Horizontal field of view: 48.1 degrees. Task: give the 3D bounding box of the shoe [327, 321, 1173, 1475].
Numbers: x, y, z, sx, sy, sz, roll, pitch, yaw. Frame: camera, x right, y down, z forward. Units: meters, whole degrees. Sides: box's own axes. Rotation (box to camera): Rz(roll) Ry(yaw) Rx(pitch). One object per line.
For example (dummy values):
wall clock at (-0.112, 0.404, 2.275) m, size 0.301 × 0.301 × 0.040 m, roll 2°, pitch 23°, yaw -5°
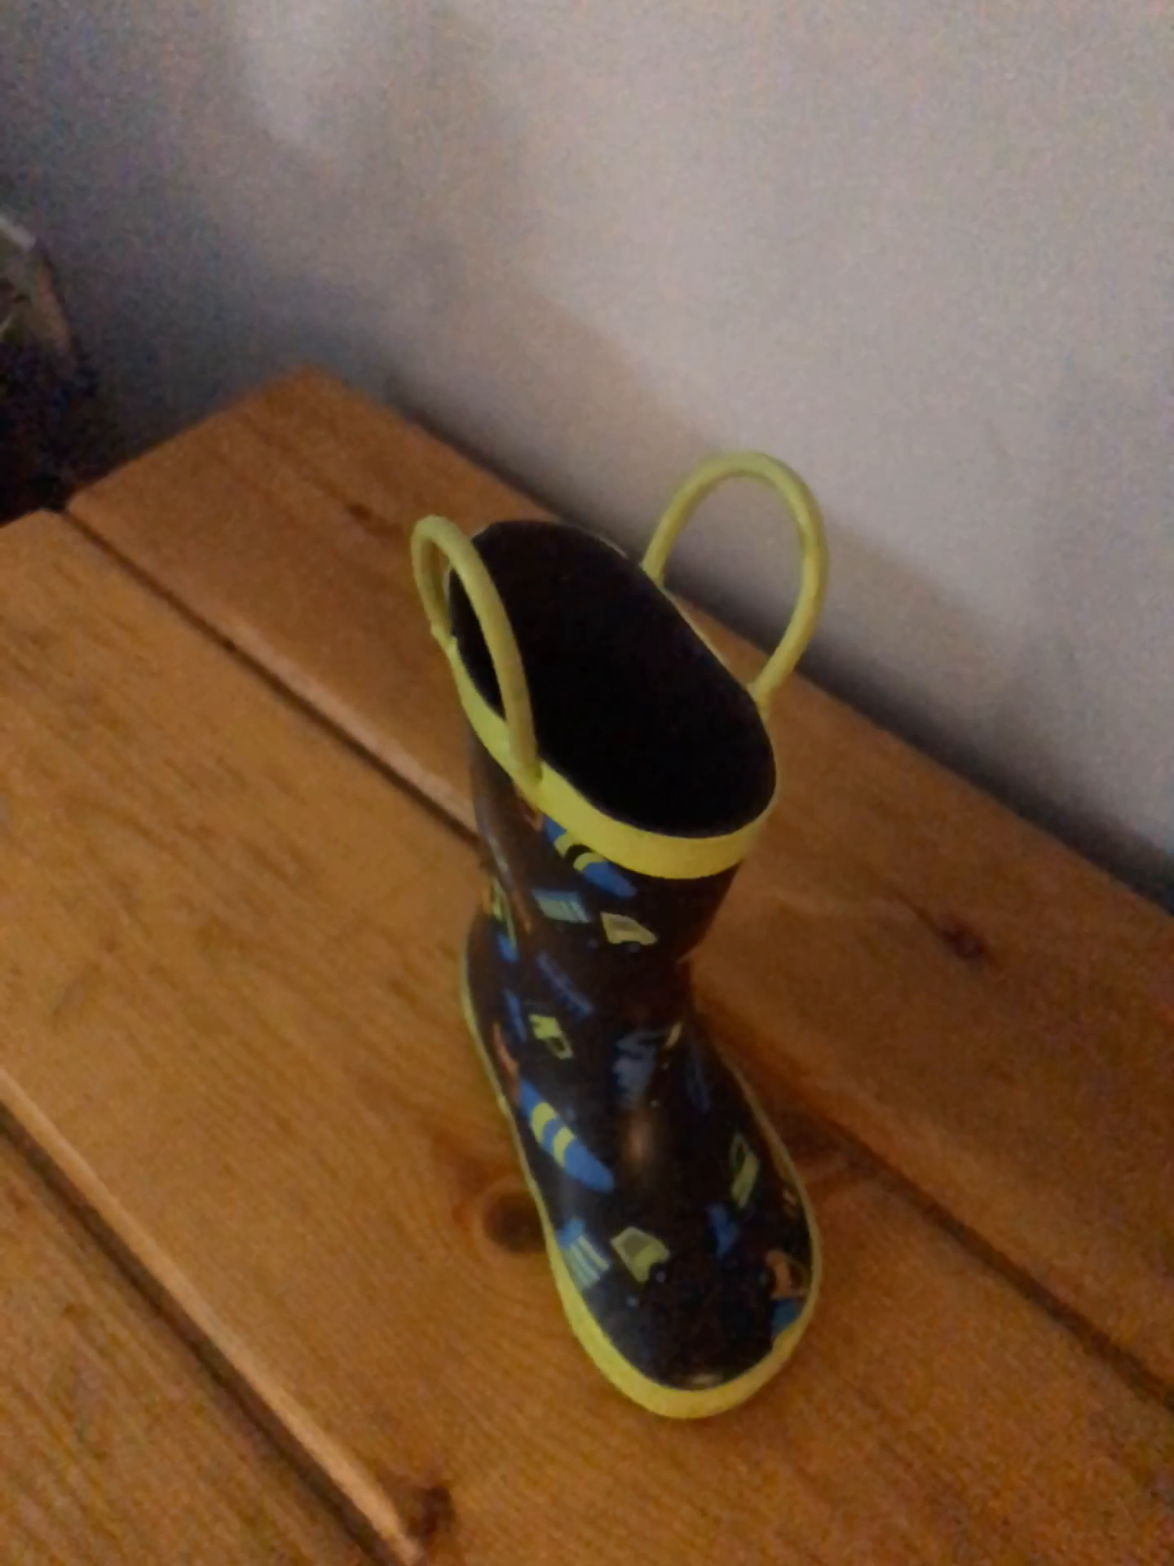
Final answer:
shoe at (0.011, 0.035, 0.305) m, size 0.080 × 0.200 × 0.170 m, roll -16°, pitch 54°, yaw -16°
